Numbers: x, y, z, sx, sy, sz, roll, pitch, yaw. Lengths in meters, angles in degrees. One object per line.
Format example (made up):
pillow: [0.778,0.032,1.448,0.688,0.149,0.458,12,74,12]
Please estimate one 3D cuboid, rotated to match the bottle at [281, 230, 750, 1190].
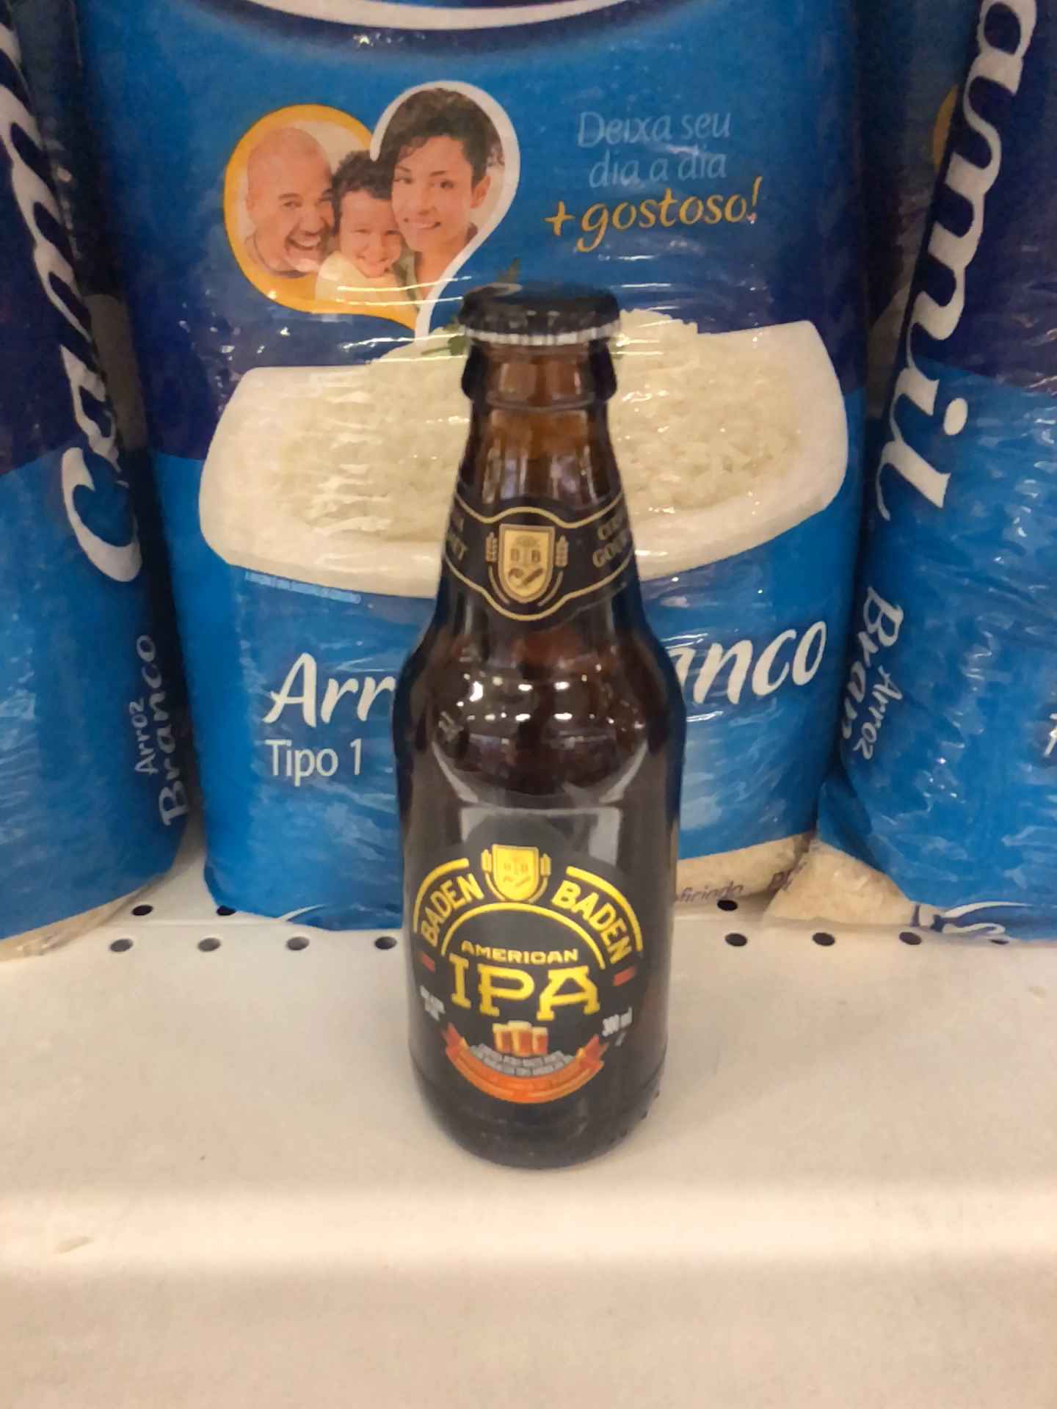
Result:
bottle: [0.001,0.007,0.244,0.070,0.189,0.060,4,28,7]
